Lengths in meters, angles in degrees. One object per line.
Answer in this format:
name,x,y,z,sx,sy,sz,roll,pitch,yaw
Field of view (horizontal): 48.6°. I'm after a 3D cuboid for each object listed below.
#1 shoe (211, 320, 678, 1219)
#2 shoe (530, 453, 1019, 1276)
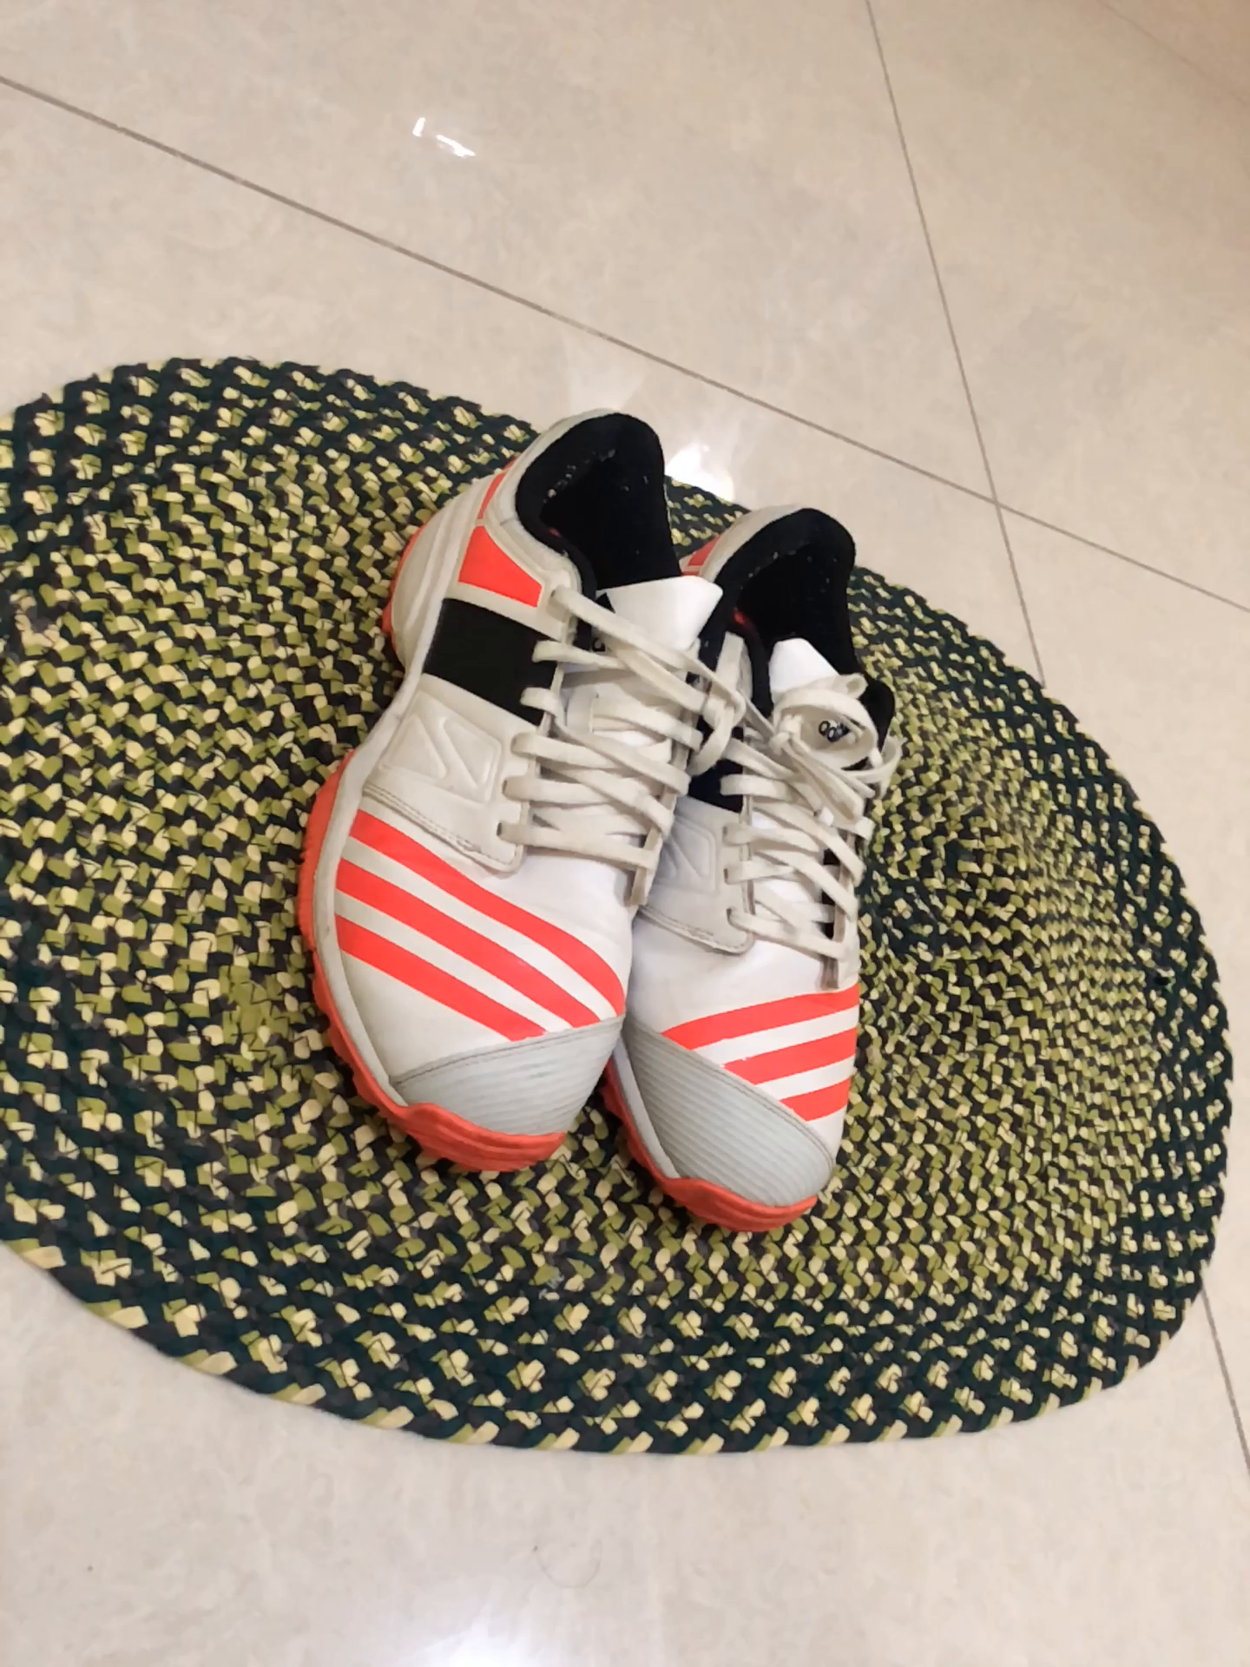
shoe,-0.050,-0.026,0.456,0.100,0.090,0.270,19,55,-25
shoe,0.046,0.009,0.485,0.110,0.100,0.250,19,55,-25
